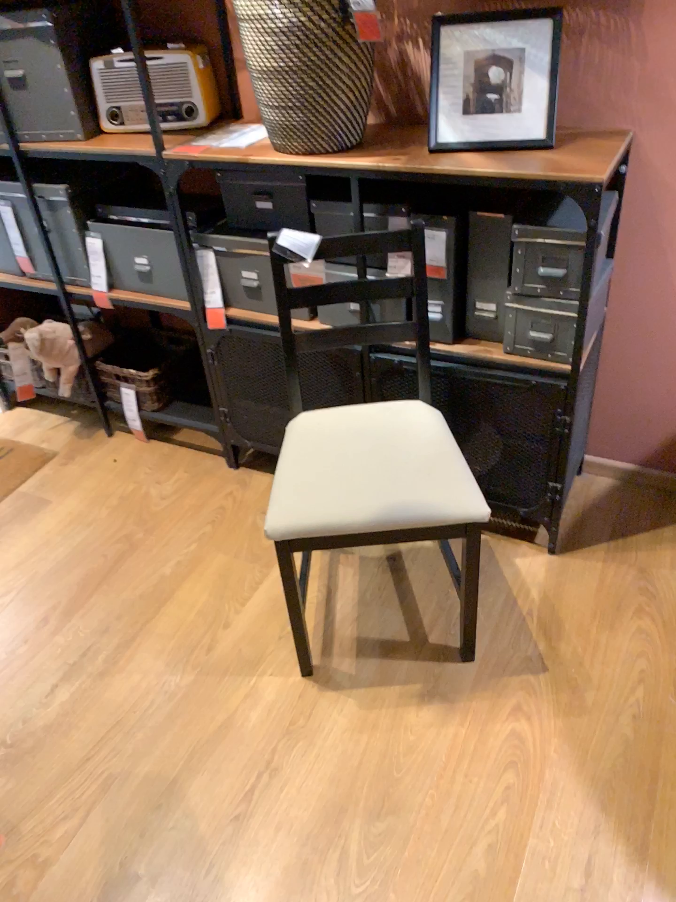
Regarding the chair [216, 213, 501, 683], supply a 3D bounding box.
[{"bbox_3d":[0.058,0.008,1.429,0.410,0.796,0.502,-5,36,2],"label":"chair"}]
